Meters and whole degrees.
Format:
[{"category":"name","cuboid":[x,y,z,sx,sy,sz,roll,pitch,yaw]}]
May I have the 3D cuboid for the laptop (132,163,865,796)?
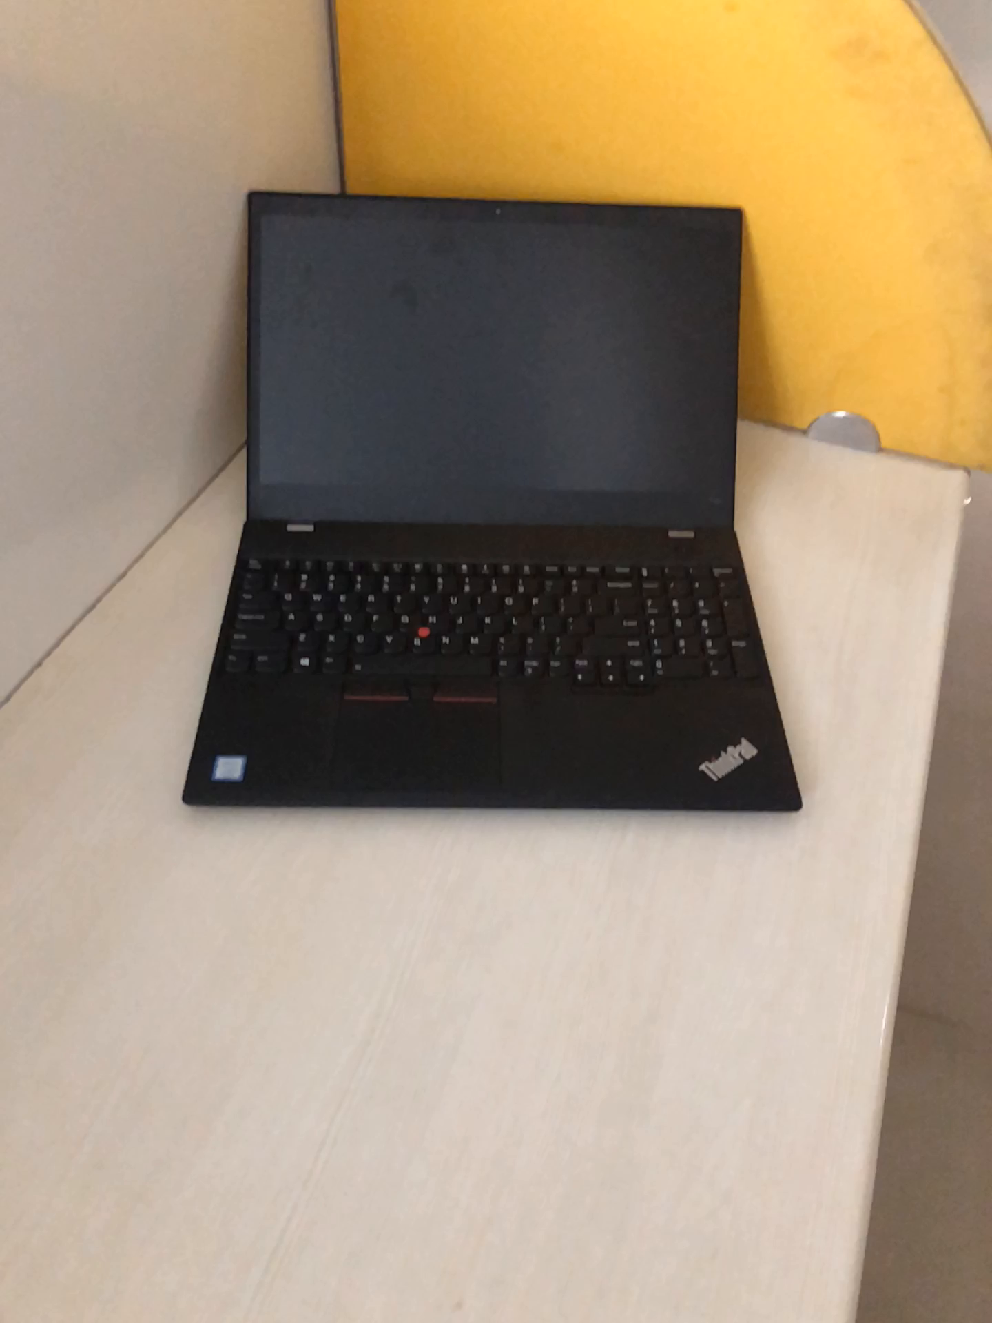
[{"category":"laptop","cuboid":[-0.003,-0.139,0.706,0.344,0.150,0.422,1,49,-3]}]
